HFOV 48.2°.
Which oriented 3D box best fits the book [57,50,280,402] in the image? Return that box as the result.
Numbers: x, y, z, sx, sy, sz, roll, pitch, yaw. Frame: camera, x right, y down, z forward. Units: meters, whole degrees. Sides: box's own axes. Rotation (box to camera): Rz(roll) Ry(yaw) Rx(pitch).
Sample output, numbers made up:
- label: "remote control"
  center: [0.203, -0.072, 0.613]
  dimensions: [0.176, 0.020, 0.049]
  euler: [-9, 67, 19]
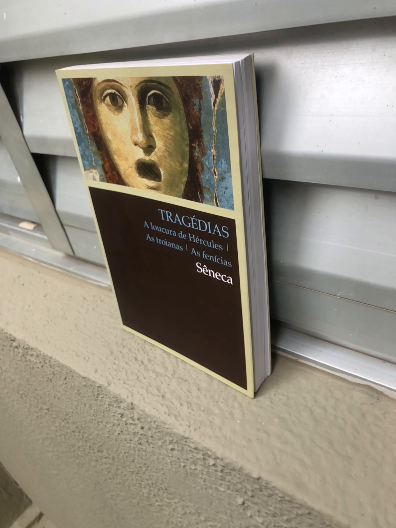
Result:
- label: "book"
  center: [-0.018, -0.024, 0.286]
  dimensions: [0.145, 0.196, 0.026]
  euler: [20, 38, 41]
